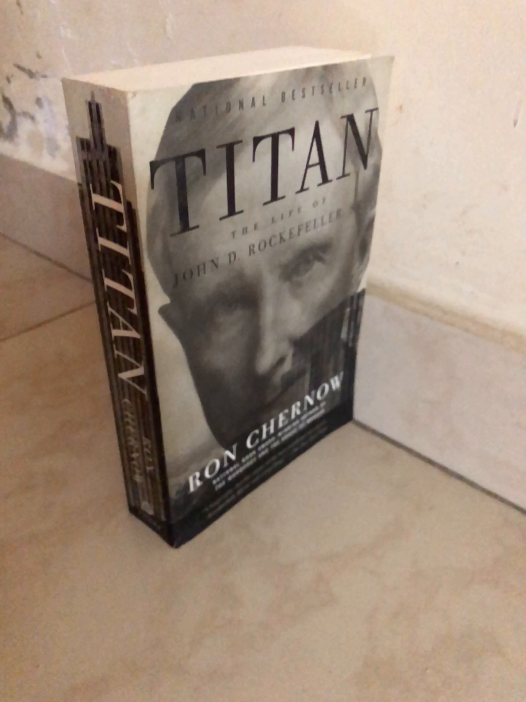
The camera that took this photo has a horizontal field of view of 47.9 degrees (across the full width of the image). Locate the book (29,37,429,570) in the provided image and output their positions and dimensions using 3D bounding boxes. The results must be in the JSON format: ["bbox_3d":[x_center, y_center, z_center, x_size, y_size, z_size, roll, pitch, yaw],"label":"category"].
[{"bbox_3d":[0.000,-0.035,0.326,0.060,0.229,0.201,24,39,32],"label":"book"}]
